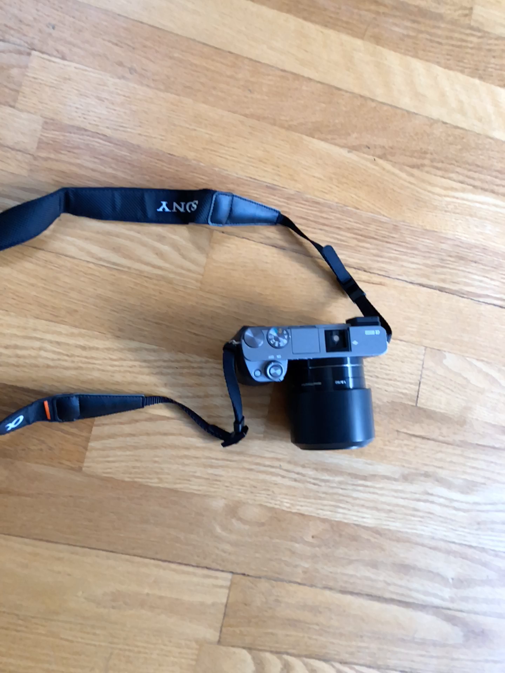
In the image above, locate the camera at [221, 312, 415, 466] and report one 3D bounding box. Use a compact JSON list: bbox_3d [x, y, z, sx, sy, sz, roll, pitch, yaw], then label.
[{"bbox_3d":[0.051,0.041,0.461,0.140,0.060,0.110,-3,84,-12],"label":"camera"}]
